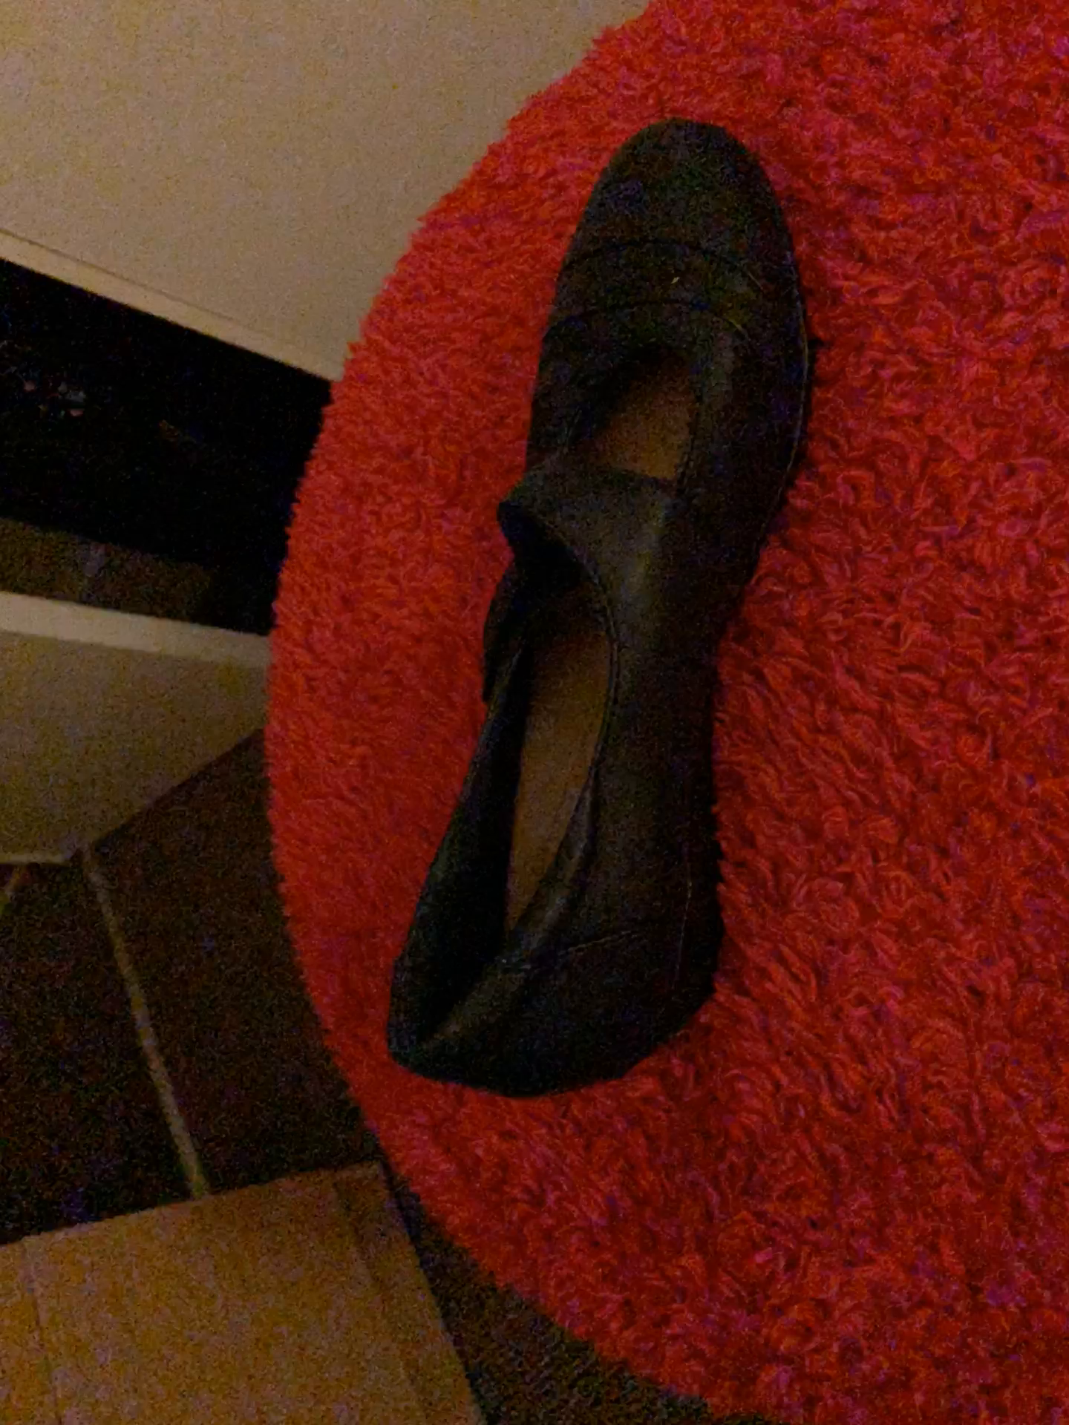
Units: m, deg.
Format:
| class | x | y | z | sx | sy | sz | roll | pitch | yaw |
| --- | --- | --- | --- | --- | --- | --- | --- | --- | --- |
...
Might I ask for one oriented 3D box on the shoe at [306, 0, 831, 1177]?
| class | x | y | z | sx | sy | sz | roll | pitch | yaw |
| --- | --- | --- | --- | --- | --- | --- | --- | --- | --- |
| shoe | 0.011 | -0.041 | 0.287 | 0.093 | 0.079 | 0.275 | -3 | 81 | 45 |
